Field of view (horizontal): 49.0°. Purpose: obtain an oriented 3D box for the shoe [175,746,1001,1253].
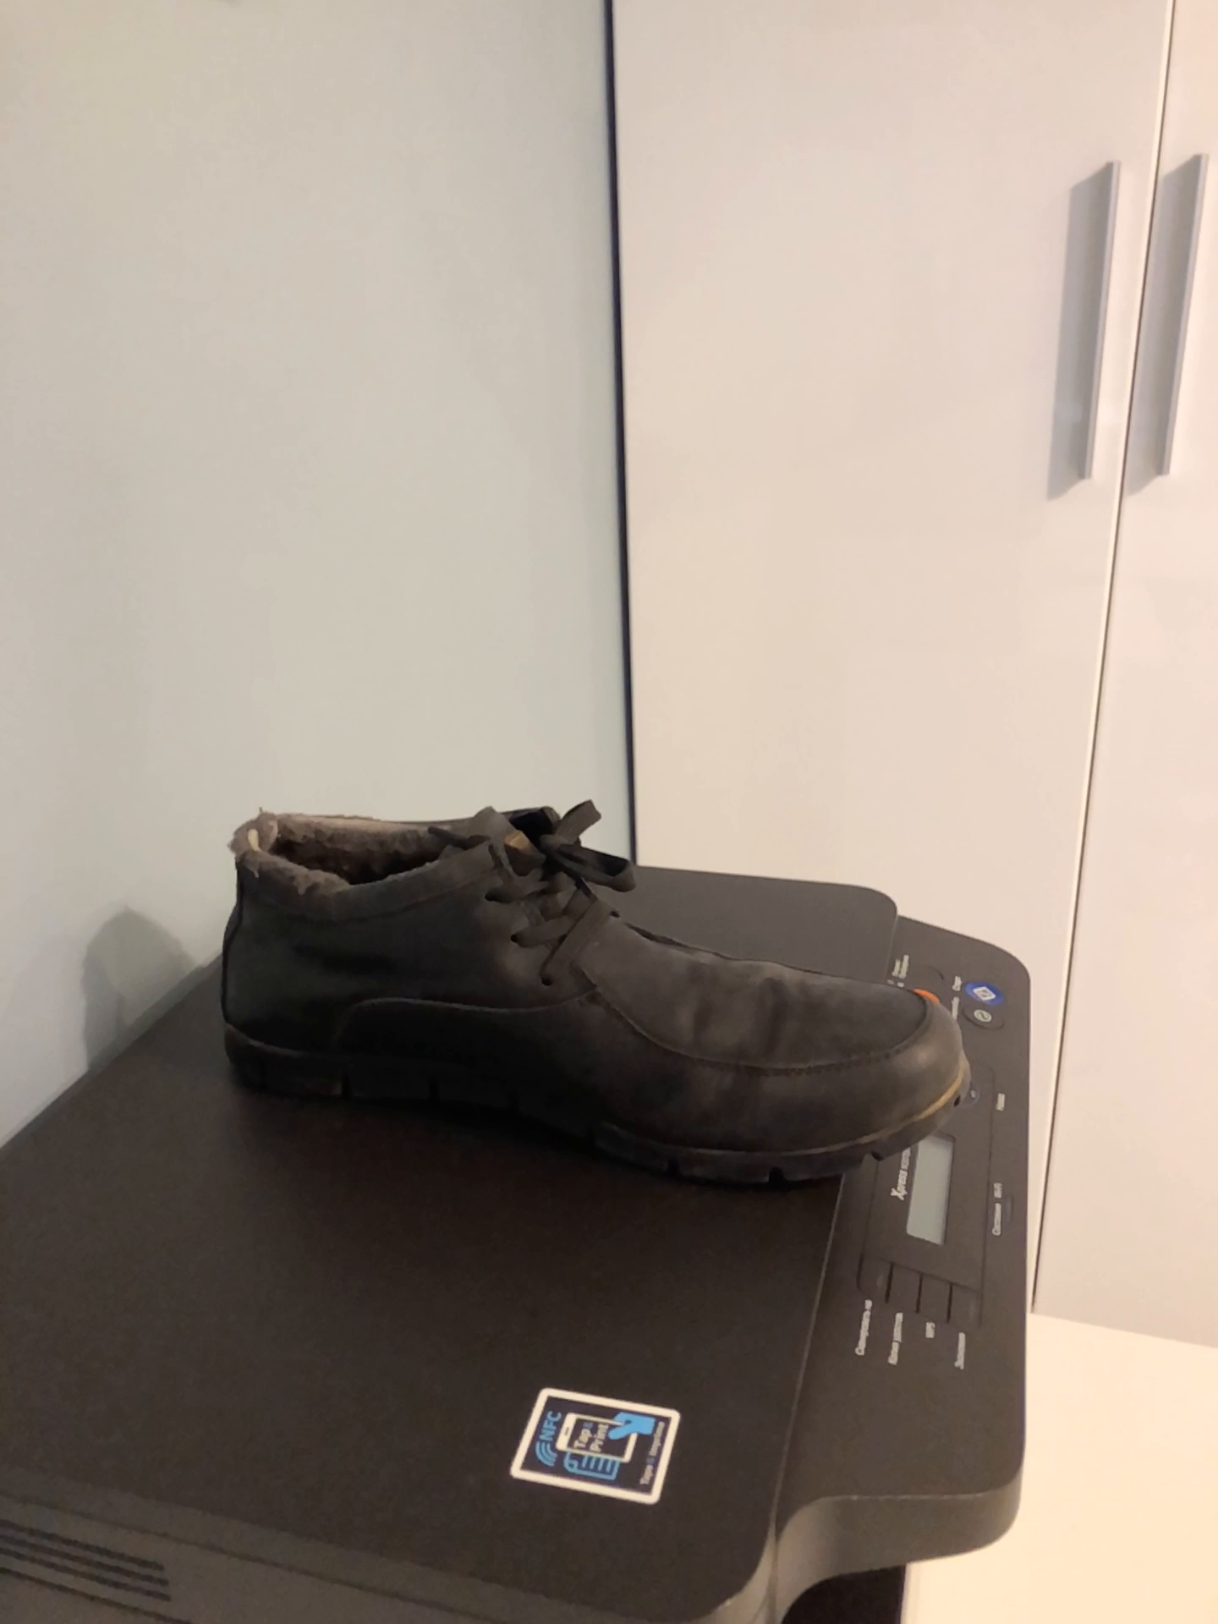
[{"bbox_3d":[-0.005,0.057,0.506,0.280,0.109,0.111,6,23,19],"label":"shoe"}]
